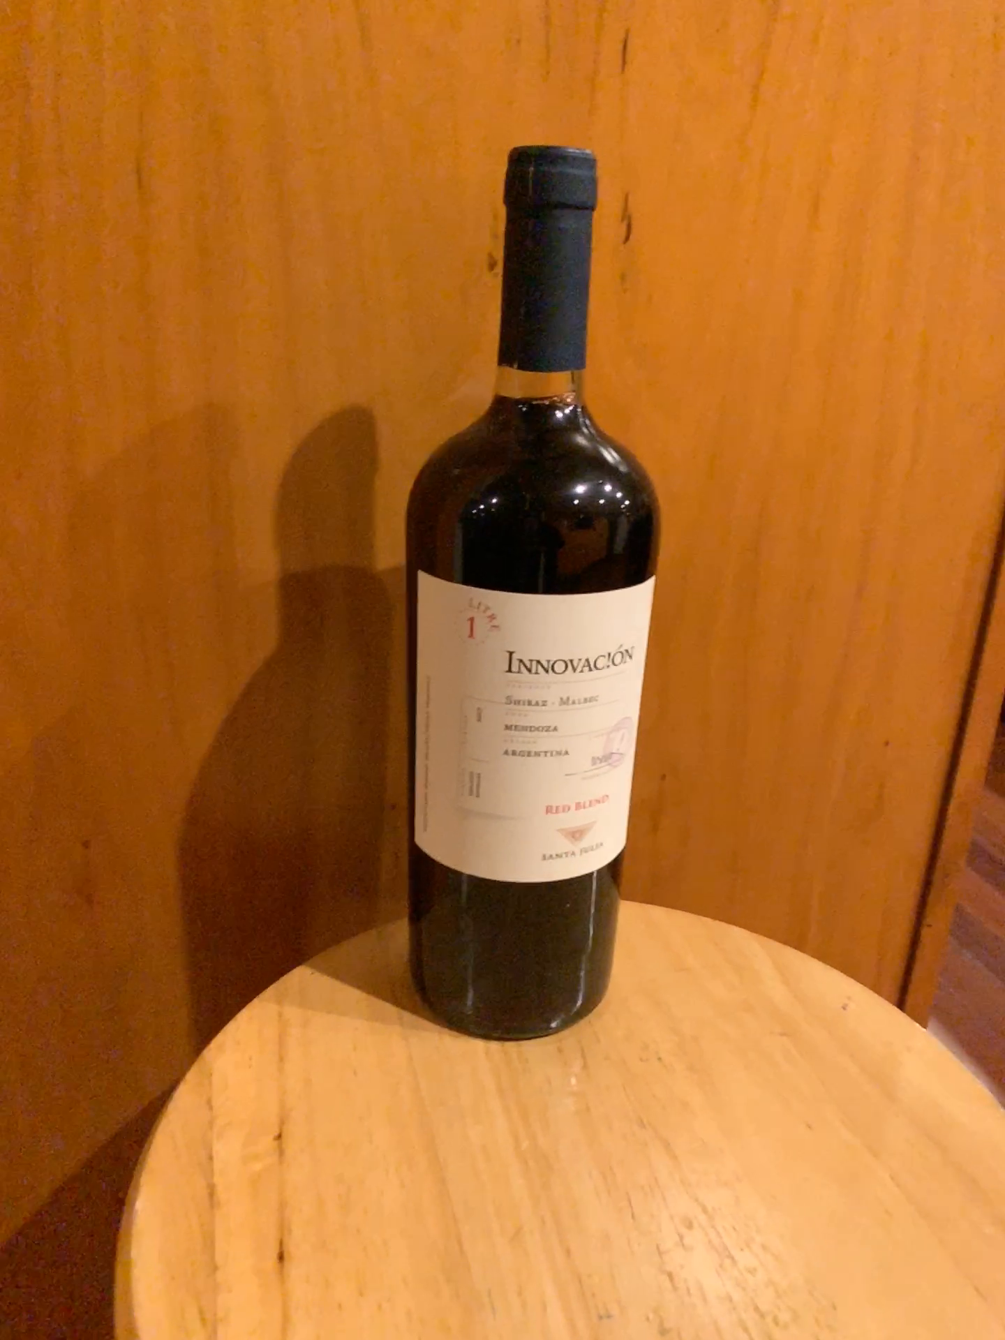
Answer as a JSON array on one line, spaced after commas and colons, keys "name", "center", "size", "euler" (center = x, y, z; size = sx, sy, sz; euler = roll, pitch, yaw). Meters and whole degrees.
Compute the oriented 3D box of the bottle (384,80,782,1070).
[{"name": "bottle", "center": [0.013, -0.020, 0.351], "size": [0.090, 0.299, 0.080], "euler": [-4, 21, -17]}]
